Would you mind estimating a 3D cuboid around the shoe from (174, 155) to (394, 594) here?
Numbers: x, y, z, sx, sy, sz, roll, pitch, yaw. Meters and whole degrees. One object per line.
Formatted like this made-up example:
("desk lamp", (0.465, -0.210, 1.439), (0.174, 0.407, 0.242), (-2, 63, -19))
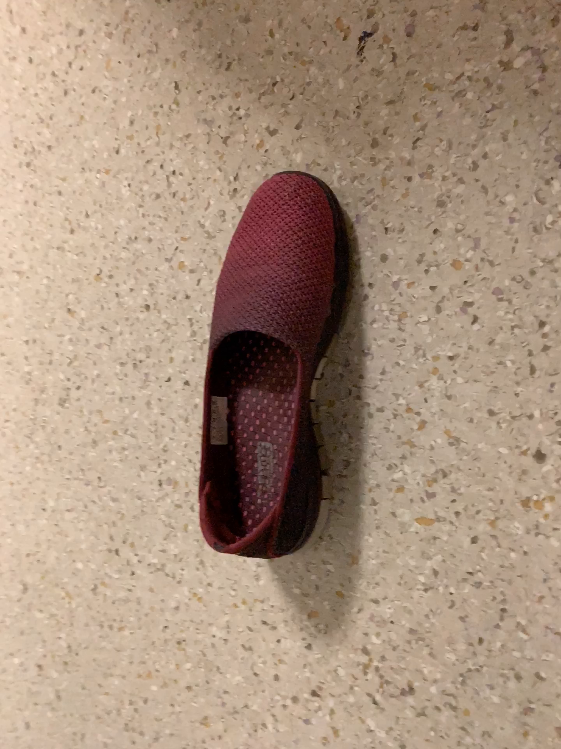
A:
("shoe", (0.003, -0.002, 0.361), (0.092, 0.091, 0.229), (6, 95, 32))
